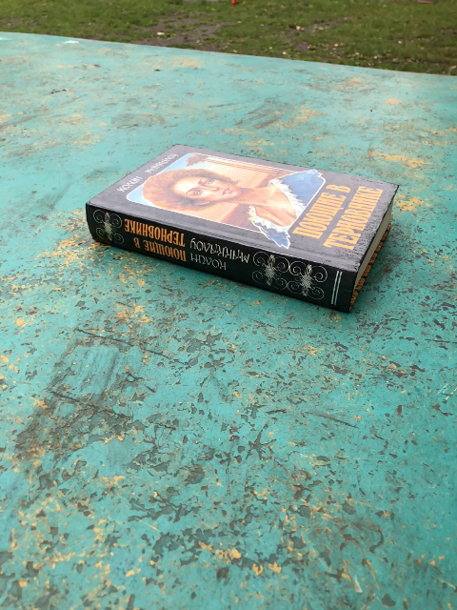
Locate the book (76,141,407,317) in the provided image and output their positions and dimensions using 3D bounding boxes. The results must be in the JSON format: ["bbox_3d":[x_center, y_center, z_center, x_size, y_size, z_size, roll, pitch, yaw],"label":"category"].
[{"bbox_3d":[0.014,-0.071,0.387,0.208,0.032,0.139,16,40,20],"label":"book"}]
